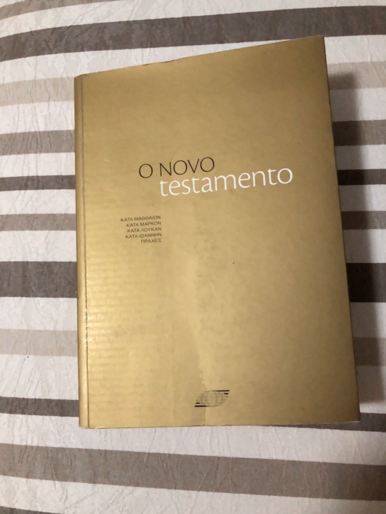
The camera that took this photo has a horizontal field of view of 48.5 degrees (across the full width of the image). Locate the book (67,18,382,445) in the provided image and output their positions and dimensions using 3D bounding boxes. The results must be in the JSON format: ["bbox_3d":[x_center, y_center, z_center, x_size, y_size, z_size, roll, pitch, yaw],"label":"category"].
[{"bbox_3d":[0.010,-0.016,0.261,0.160,0.050,0.230,-4,80,6],"label":"book"}]
